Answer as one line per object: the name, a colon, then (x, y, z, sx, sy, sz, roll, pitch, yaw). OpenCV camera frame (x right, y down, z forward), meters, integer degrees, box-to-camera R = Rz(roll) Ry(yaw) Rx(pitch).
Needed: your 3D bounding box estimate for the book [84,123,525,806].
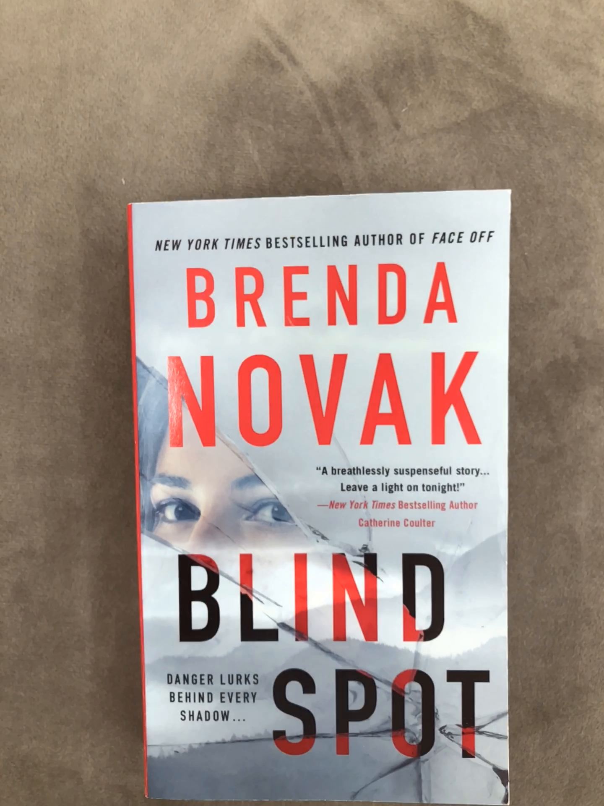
book: (0.003, 0.021, 0.215, 0.120, 0.050, 0.190, -1, 93, 8)
